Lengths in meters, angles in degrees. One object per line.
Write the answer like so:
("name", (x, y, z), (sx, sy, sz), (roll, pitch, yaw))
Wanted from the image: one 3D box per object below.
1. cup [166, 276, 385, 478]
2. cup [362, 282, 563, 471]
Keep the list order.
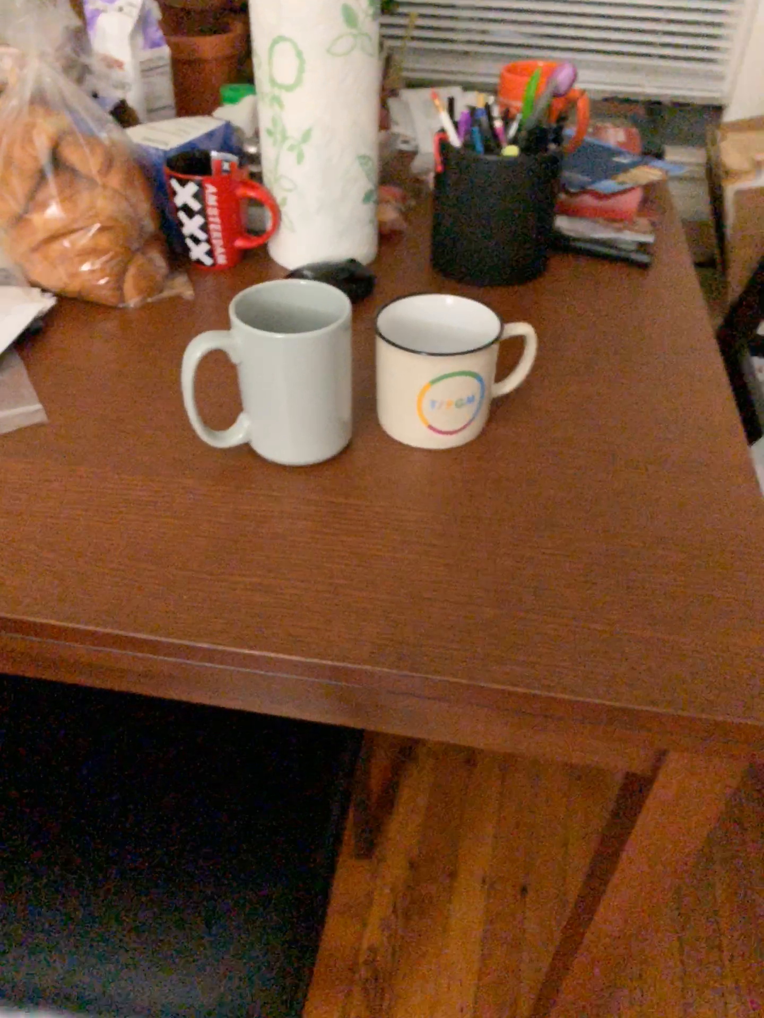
("cup", (-0.075, -0.098, 0.578), (0.140, 0.099, 0.101), (-5, 42, -7))
("cup", (0.055, -0.104, 0.614), (0.130, 0.099, 0.101), (-4, 42, -6))
